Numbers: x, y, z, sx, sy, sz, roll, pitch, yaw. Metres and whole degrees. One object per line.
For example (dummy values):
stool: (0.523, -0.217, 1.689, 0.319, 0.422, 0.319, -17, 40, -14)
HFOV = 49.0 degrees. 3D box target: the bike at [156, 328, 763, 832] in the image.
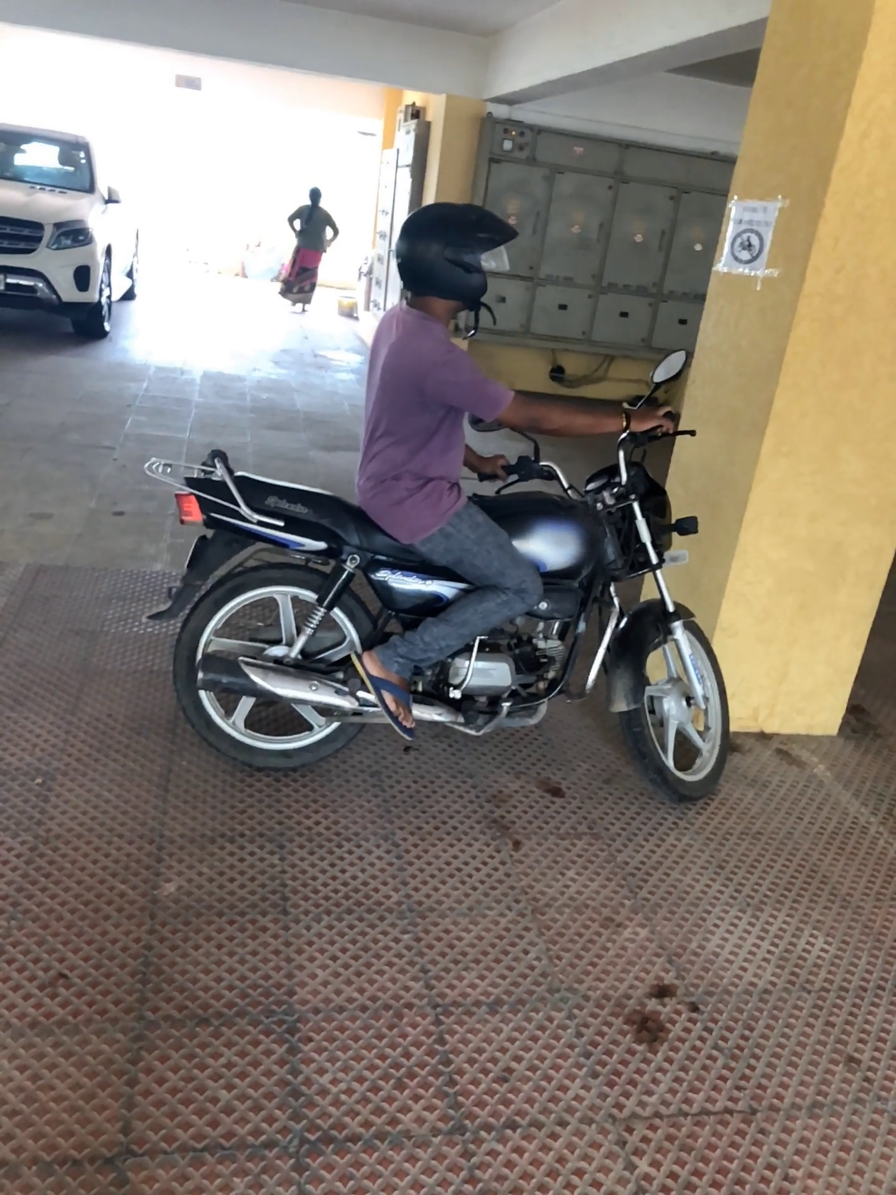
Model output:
bike: (-0.030, -0.039, 3.018, 1.543, 1.195, 0.769, 5, 22, -13)
